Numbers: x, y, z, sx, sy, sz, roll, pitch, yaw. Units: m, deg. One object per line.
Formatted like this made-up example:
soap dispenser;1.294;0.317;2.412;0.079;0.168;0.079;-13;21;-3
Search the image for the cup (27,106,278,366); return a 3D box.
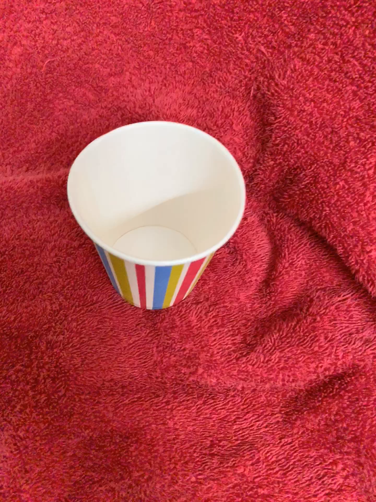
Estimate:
cup;-0.012;-0.003;0.174;0.070;0.070;0.070;3;61;-5
